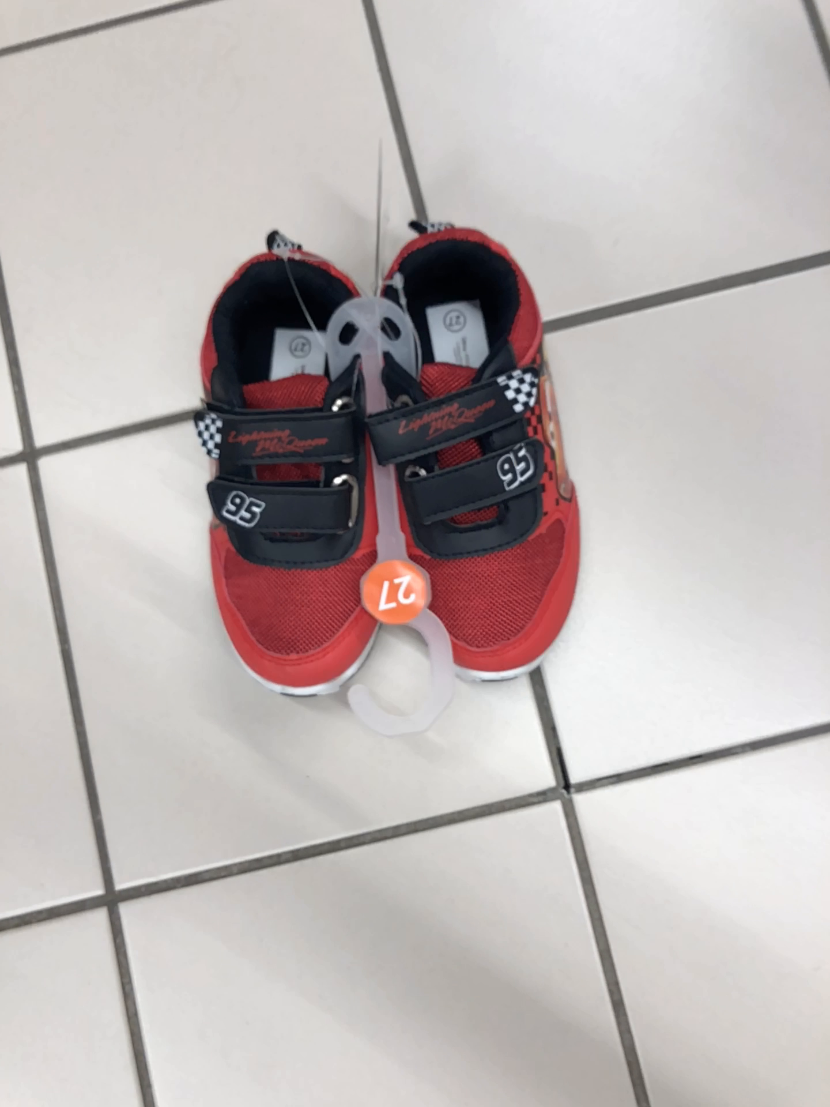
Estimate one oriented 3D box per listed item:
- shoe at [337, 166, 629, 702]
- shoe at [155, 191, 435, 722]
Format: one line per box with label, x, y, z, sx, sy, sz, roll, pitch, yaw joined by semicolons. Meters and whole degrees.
shoe;0.025;-0.043;0.379;0.087;0.074;0.194;-6;83;2
shoe;-0.046;-0.035;0.382;0.087;0.073;0.194;-6;83;2
